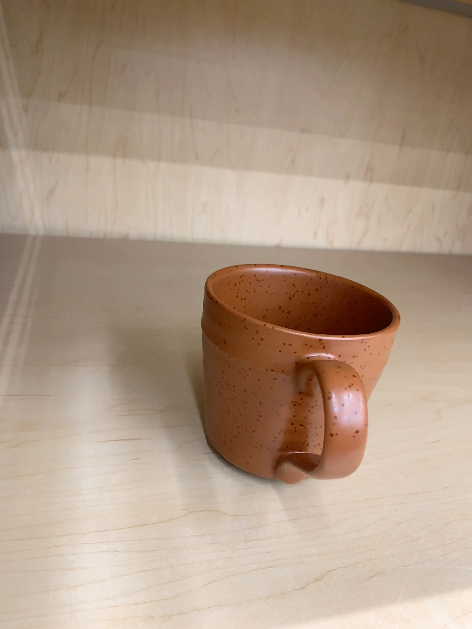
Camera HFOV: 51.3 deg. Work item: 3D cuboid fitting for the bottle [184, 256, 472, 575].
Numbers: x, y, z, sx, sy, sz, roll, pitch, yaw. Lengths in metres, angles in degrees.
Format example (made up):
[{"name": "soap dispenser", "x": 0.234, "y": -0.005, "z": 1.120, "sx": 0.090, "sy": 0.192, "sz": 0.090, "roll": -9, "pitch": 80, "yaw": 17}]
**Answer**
[{"name": "bottle", "x": 0.029, "y": 0.038, "z": 0.253, "sx": 0.100, "sy": 0.090, "sz": 0.141, "roll": 5, "pitch": 23, "yaw": -7}]
